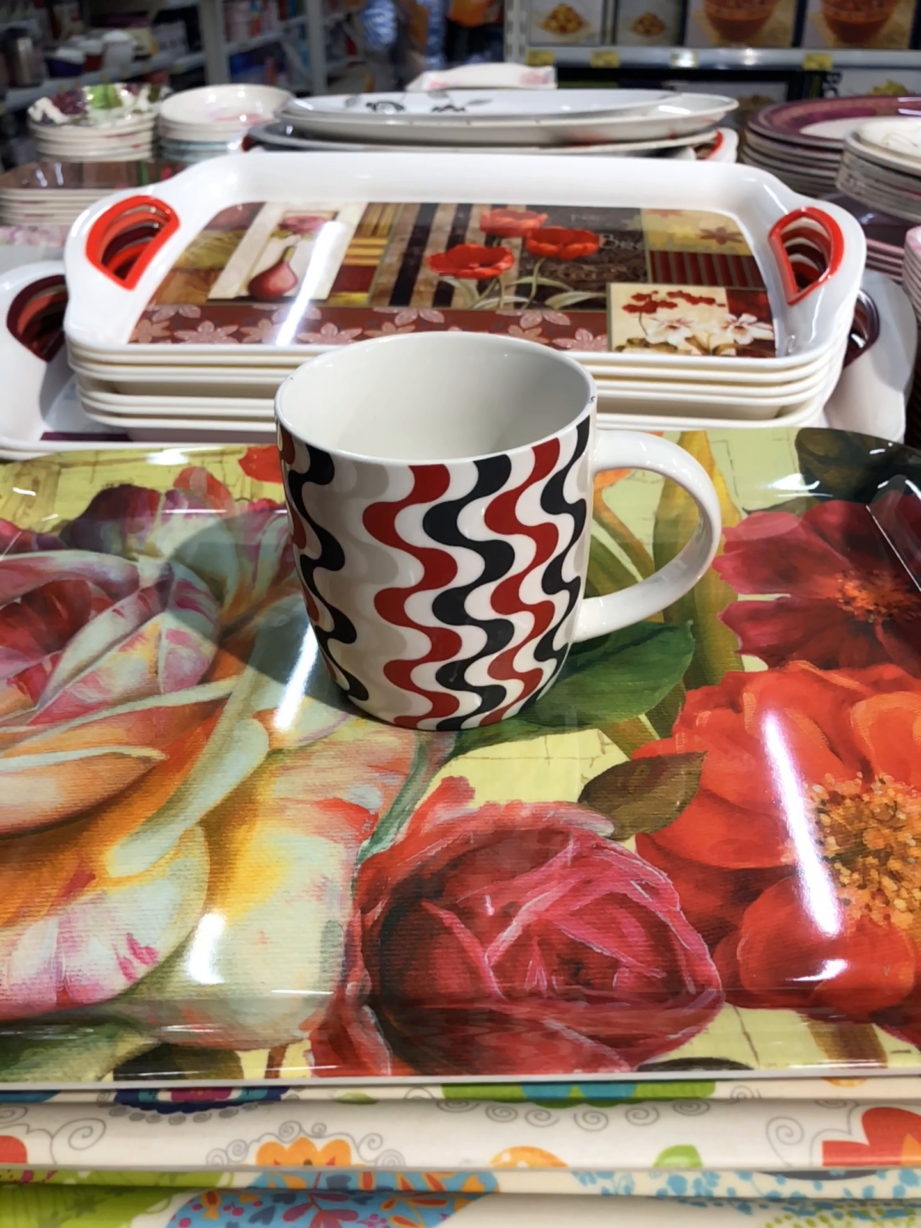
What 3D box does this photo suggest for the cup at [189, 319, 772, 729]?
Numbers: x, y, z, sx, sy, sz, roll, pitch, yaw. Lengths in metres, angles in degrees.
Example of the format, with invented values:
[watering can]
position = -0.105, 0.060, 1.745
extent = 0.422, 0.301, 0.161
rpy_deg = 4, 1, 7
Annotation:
[cup]
position = 0.004, -0.029, 0.288
extent = 0.130, 0.079, 0.091
rpy_deg = -1, 32, -1
